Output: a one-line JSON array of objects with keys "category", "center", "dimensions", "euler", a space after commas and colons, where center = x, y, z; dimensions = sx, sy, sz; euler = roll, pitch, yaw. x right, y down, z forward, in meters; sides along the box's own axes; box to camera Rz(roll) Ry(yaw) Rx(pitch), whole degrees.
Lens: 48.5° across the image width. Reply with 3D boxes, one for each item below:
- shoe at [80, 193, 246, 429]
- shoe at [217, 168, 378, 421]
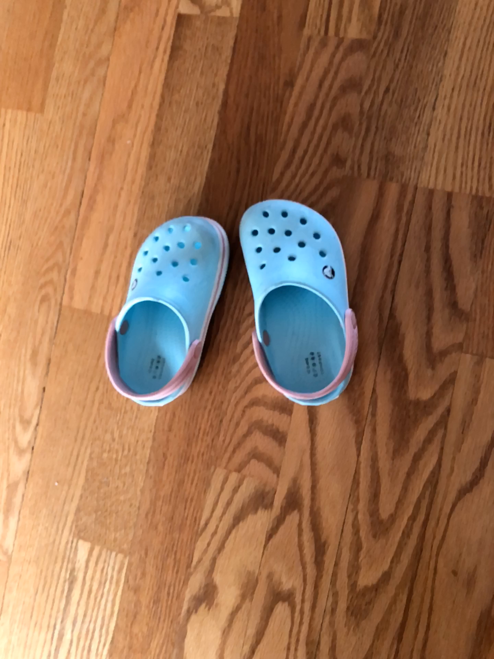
[{"category": "shoe", "center": [-0.066, -0.015, 0.442], "dimensions": [0.083, 0.057, 0.165], "euler": [13, 92, 15]}, {"category": "shoe", "center": [0.039, -0.023, 0.410], "dimensions": [0.083, 0.048, 0.165], "euler": [-12, 85, 14]}]
